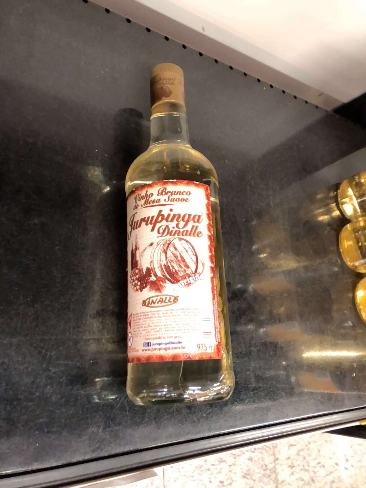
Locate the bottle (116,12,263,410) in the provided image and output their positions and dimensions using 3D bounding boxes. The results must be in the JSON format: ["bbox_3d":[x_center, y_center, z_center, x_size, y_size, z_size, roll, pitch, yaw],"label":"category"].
[{"bbox_3d":[0.007,-0.027,0.348,0.100,0.080,0.300,31,54,-64],"label":"bottle"}]
